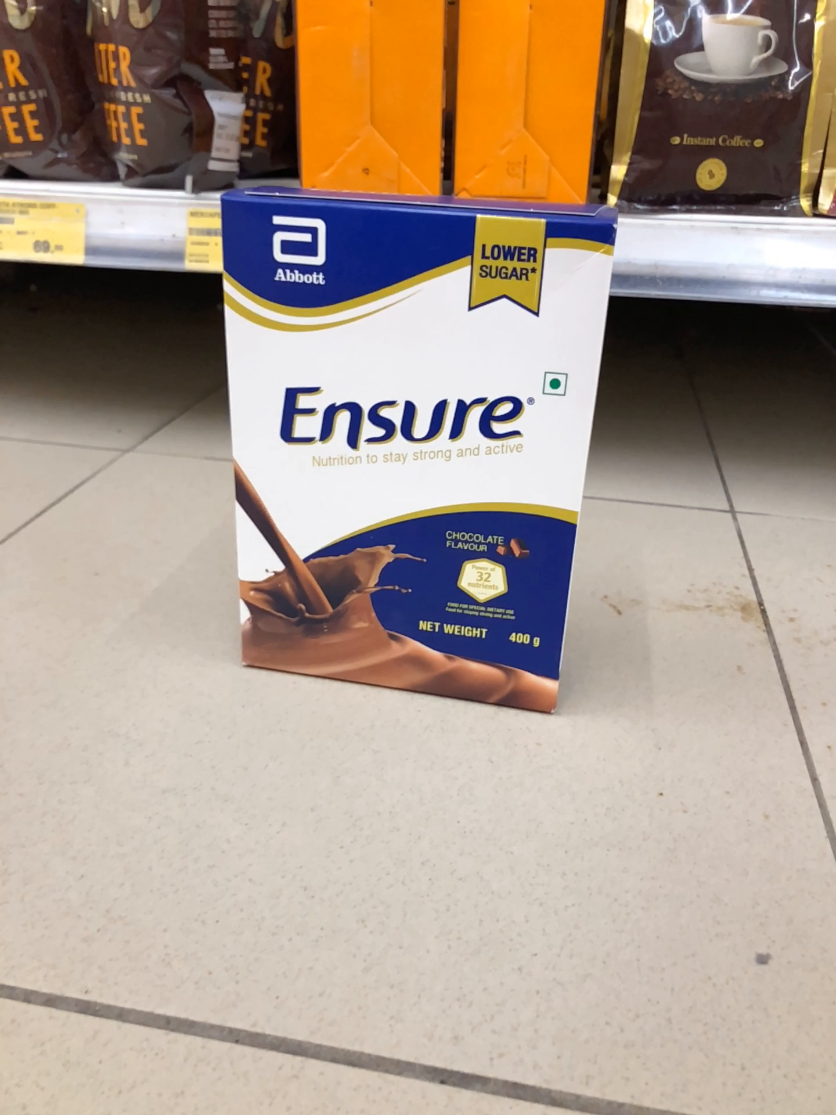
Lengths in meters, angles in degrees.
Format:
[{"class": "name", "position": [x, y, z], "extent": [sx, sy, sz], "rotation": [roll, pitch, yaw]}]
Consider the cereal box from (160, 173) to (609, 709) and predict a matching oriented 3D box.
[{"class": "cereal box", "position": [-0.009, -0.044, 0.350], "extent": [0.140, 0.179, 0.060], "rotation": [6, 26, 11]}]
